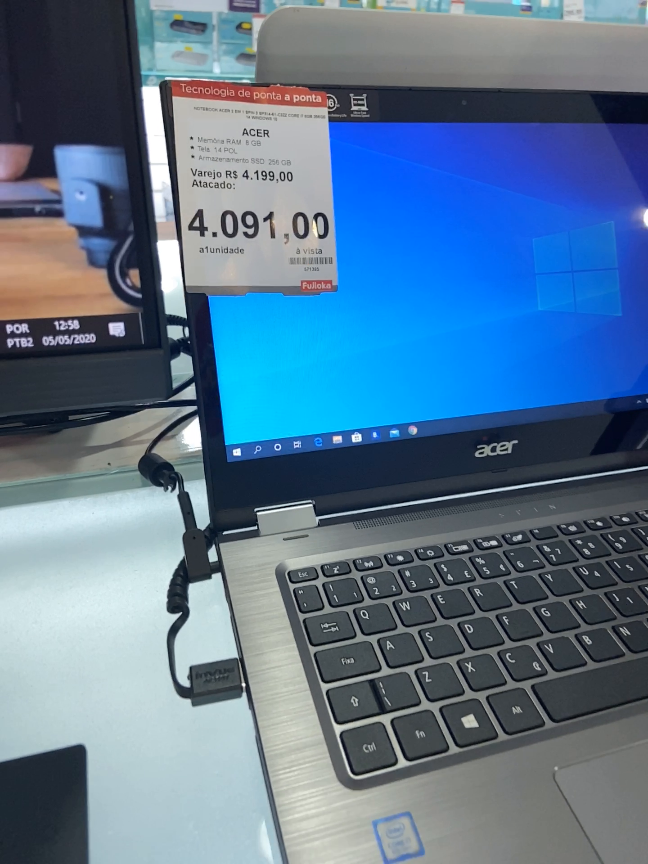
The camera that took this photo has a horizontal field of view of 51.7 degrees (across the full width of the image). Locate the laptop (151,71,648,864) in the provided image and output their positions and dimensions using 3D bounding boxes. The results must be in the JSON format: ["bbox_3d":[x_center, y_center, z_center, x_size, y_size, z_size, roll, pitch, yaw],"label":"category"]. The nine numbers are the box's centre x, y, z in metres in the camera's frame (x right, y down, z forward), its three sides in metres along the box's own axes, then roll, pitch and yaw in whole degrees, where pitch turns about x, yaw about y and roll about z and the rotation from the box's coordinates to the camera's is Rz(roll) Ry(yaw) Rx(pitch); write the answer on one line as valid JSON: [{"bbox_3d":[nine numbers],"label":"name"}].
[{"bbox_3d":[0.118,-0.023,0.286,0.328,0.187,0.357,-7,35,-15],"label":"laptop"}]
